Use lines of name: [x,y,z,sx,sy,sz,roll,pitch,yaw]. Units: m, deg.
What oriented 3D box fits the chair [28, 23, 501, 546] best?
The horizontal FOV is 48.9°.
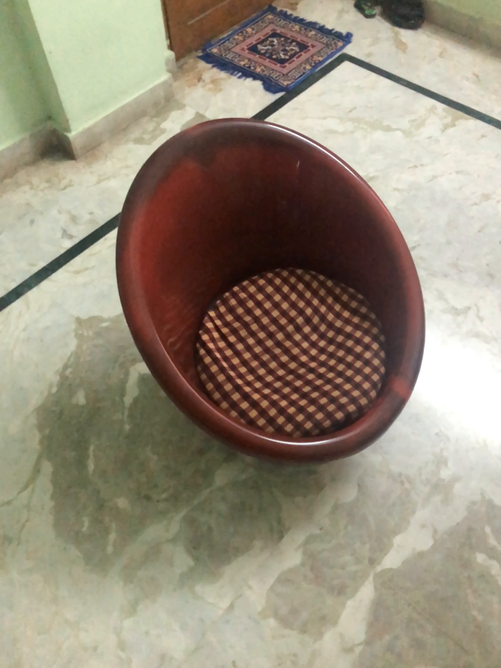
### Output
chair: [0.091,-0.113,1.114,0.671,0.547,0.632,-33,62,-19]
